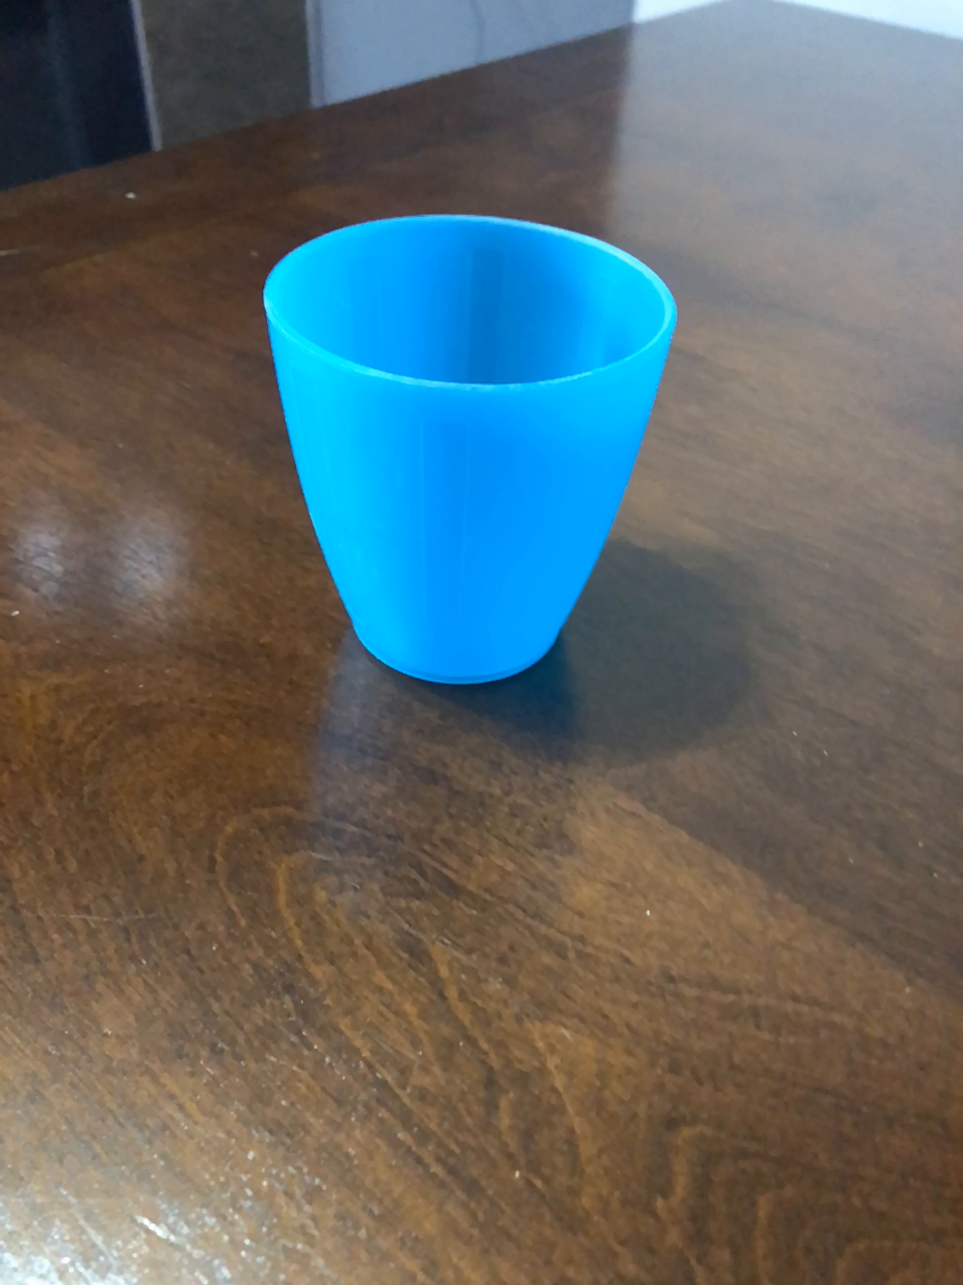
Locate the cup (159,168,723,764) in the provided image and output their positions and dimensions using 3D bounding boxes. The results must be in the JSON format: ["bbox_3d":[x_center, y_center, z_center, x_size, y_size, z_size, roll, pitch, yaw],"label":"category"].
[{"bbox_3d":[-0.005,-0.038,0.220,0.080,0.080,0.070,16,43,14],"label":"cup"}]
